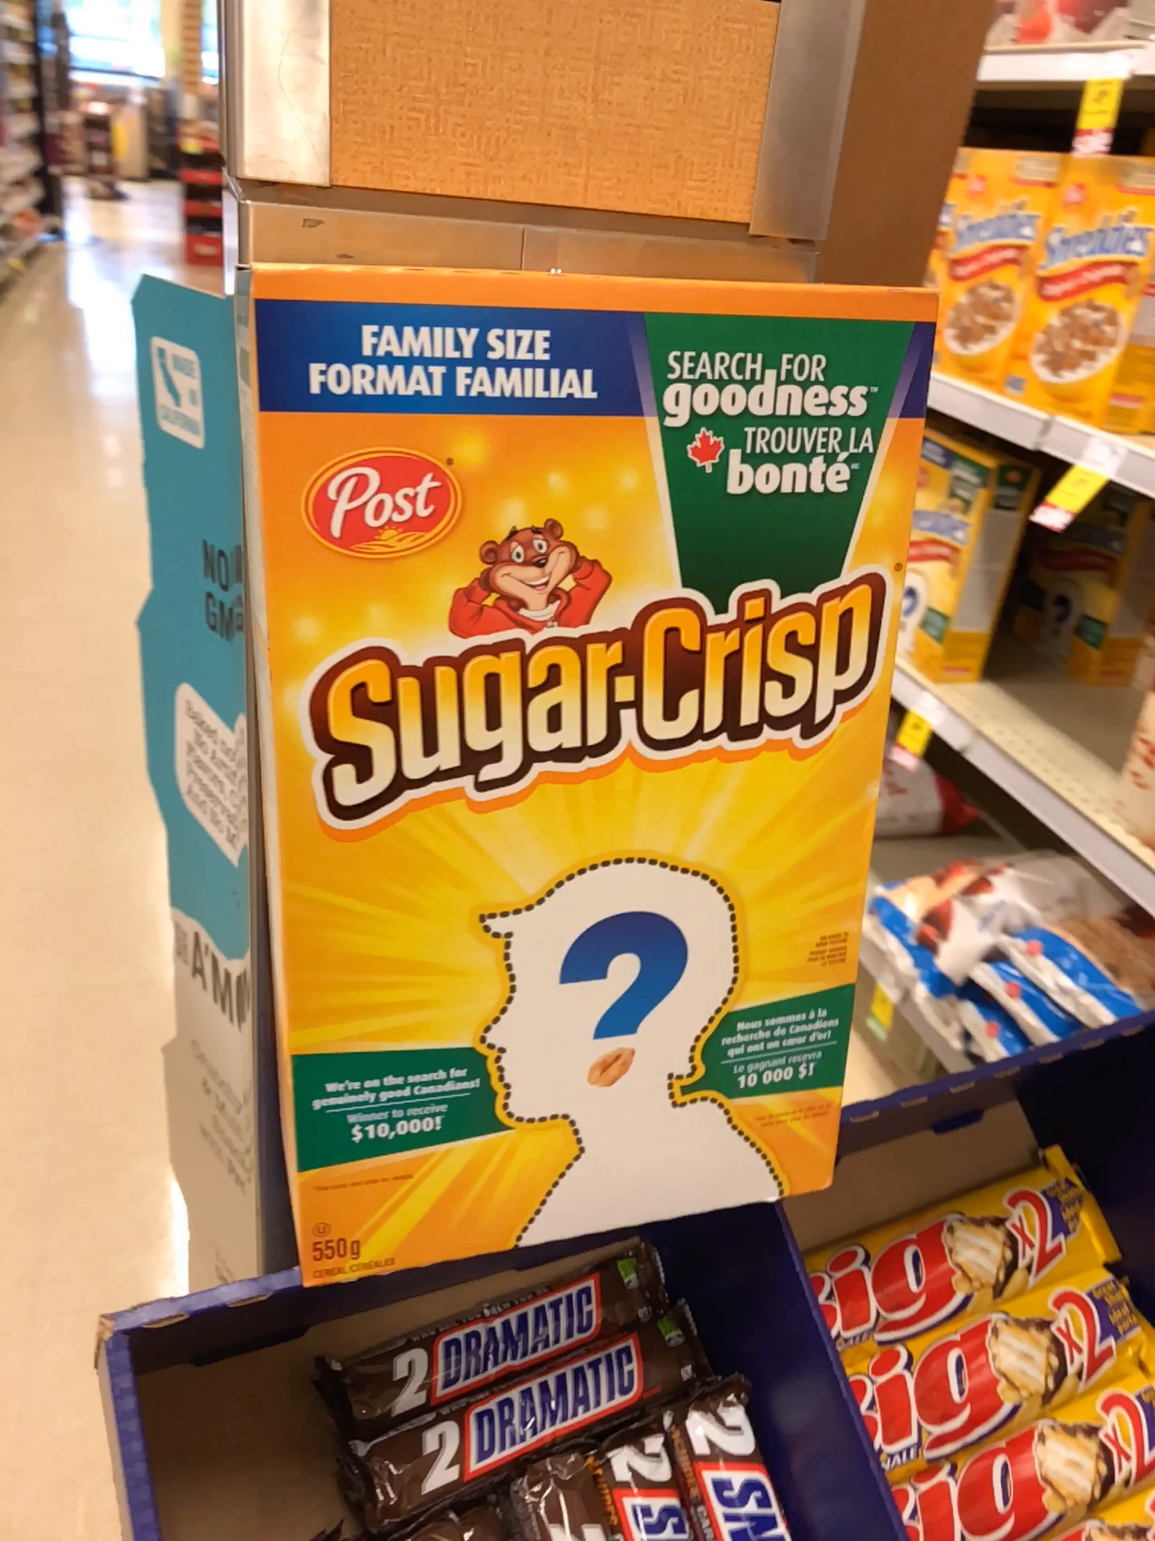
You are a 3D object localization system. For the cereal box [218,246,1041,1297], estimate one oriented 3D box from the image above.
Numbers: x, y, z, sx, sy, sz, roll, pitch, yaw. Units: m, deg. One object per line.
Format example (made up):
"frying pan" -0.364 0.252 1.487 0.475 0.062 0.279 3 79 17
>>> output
"cereal box" 0.009 -0.001 0.410 0.220 0.298 0.080 -4 20 -17
